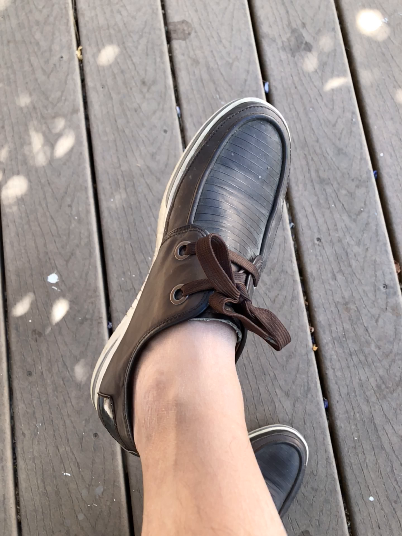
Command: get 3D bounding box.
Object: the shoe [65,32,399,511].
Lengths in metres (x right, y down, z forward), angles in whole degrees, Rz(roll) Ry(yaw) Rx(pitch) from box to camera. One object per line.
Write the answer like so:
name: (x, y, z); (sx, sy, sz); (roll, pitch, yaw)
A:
shoe: (0.013, 0.006, 0.342); (0.118, 0.104, 0.295); (24, 90, -18)
